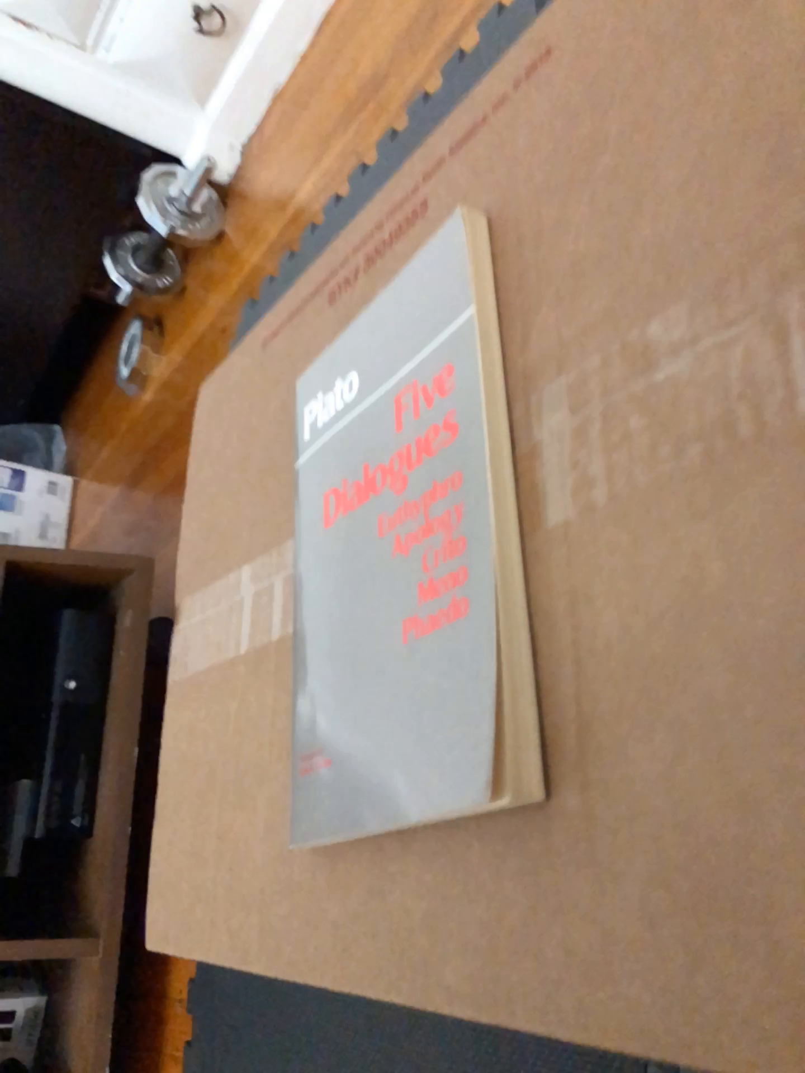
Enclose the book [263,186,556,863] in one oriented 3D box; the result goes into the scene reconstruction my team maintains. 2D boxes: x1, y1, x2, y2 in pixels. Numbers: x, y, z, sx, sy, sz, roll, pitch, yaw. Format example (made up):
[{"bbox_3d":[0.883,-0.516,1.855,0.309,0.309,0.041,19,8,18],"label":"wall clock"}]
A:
[{"bbox_3d":[-0.011,0.000,0.334,0.140,0.020,0.220,-34,51,48],"label":"book"}]
